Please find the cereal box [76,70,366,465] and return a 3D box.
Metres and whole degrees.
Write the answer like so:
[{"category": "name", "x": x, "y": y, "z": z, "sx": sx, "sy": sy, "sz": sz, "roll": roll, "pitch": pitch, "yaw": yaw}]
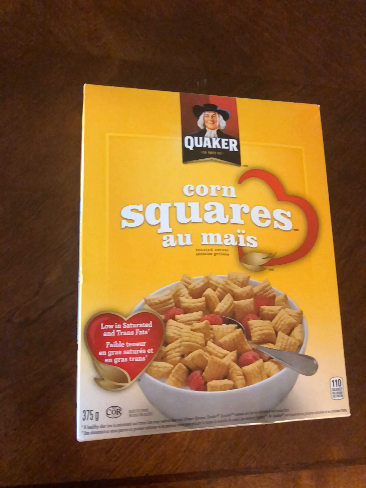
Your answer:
[{"category": "cereal box", "x": 0.029, "y": 0.010, "z": 0.326, "sx": 0.220, "sy": 0.050, "sz": 0.270, "roll": 1, "pitch": 79, "yaw": -15}]
